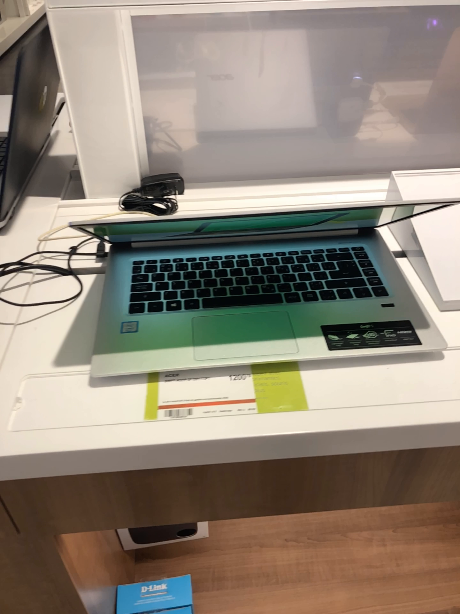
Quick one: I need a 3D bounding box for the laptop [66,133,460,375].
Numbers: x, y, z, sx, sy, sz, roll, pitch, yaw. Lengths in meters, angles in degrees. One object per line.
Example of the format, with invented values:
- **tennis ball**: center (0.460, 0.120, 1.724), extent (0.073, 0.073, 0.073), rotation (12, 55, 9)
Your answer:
- **laptop**: center (0.032, -0.069, 0.538), extent (0.346, 0.132, 0.218), rotation (-4, 41, -4)
